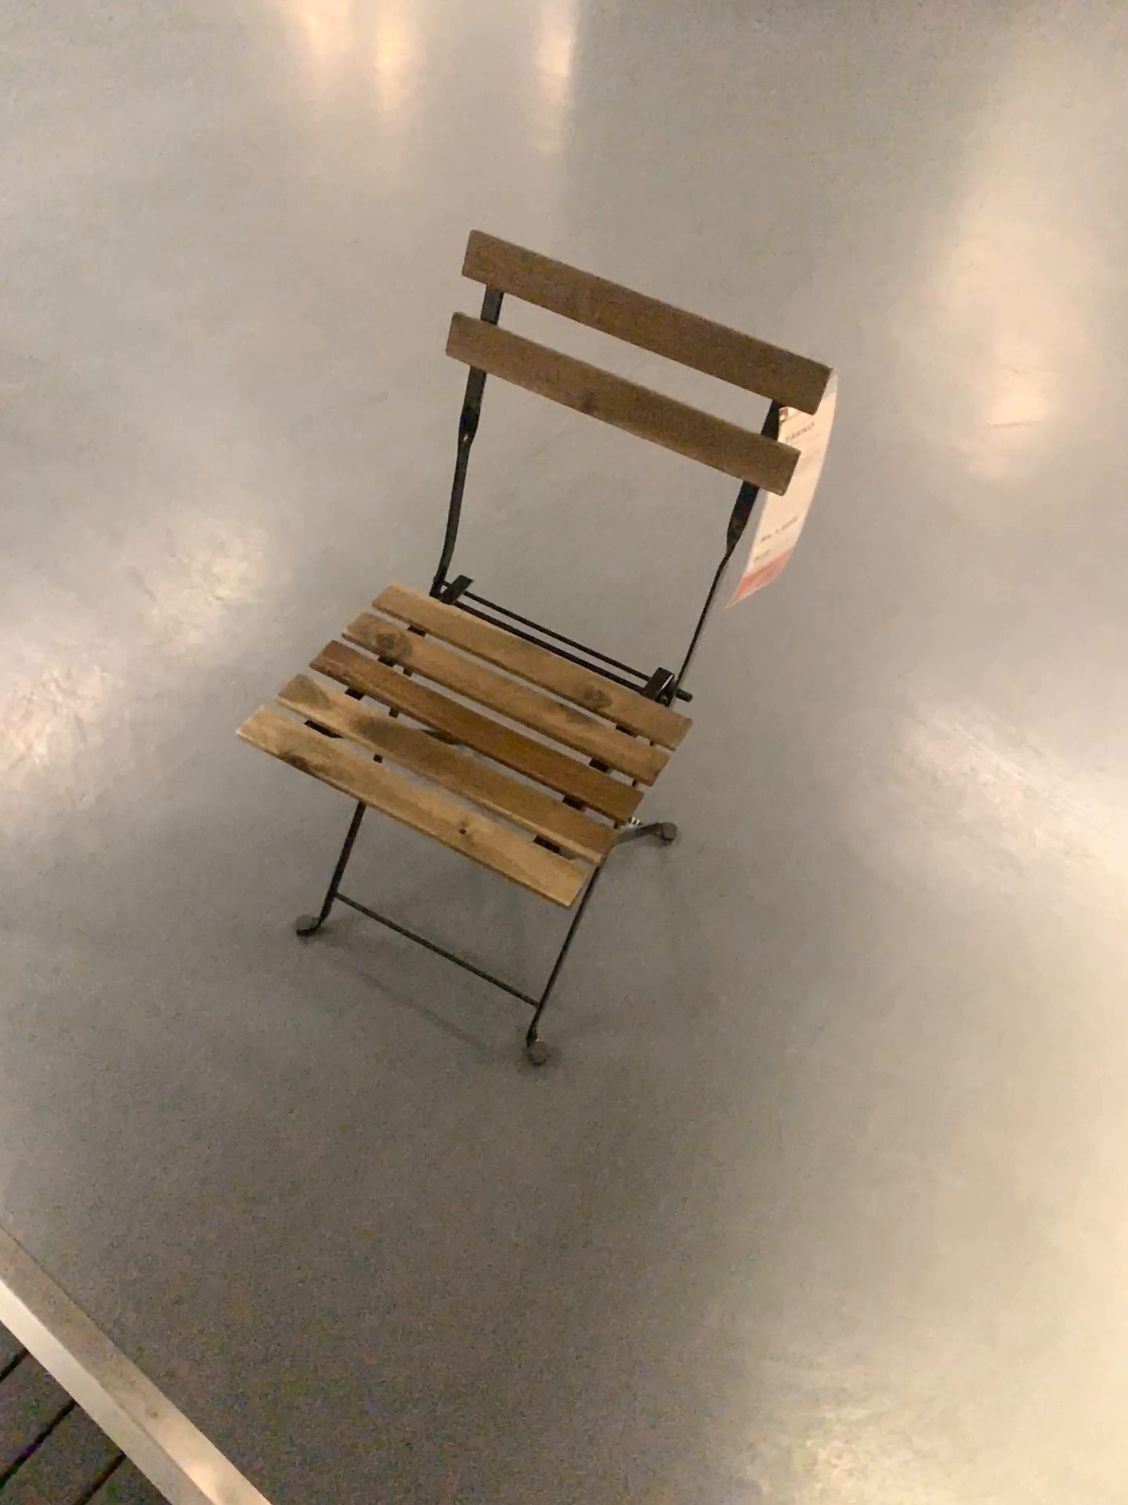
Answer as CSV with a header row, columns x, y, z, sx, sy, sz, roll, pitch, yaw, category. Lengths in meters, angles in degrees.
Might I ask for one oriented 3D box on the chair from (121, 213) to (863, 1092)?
x,y,z,sx,sy,sz,roll,pitch,yaw,category
-0.057,-0.073,1.241,0.420,0.698,0.501,27,56,14,chair
